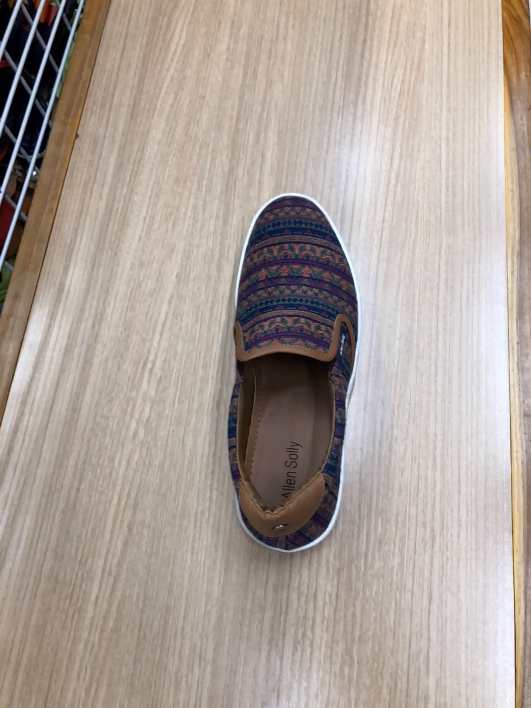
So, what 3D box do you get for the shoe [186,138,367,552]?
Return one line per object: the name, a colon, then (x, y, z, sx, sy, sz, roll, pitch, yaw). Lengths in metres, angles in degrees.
shoe: (0.017, -0.007, 0.410, 0.100, 0.090, 0.271, 1, 71, 6)
